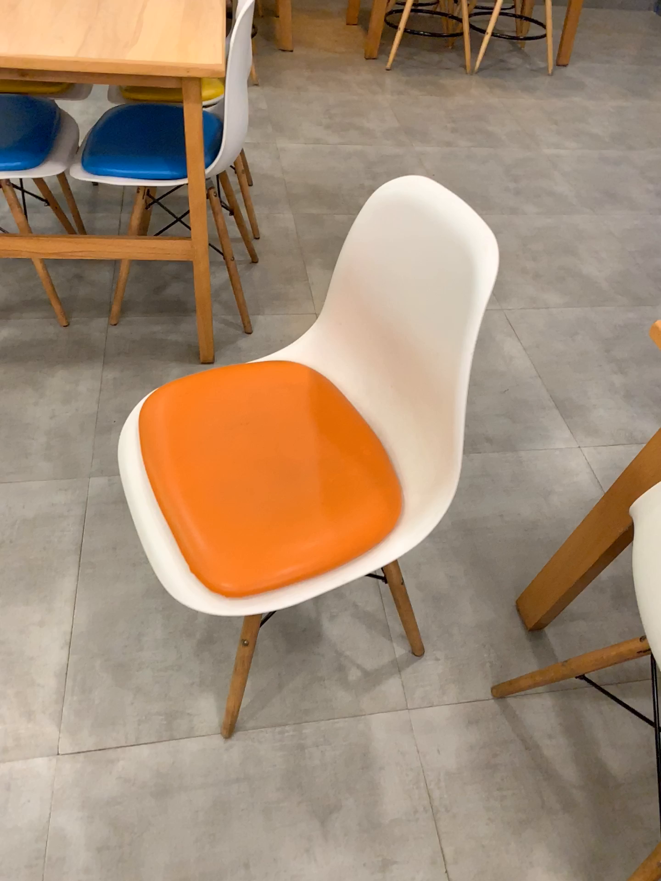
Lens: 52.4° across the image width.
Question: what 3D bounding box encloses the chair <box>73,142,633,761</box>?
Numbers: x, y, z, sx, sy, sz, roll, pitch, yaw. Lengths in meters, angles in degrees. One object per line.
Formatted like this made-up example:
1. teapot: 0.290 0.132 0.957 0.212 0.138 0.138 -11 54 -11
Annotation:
1. chair: -0.036 0.026 0.996 0.481 0.704 0.473 -13 48 -19
